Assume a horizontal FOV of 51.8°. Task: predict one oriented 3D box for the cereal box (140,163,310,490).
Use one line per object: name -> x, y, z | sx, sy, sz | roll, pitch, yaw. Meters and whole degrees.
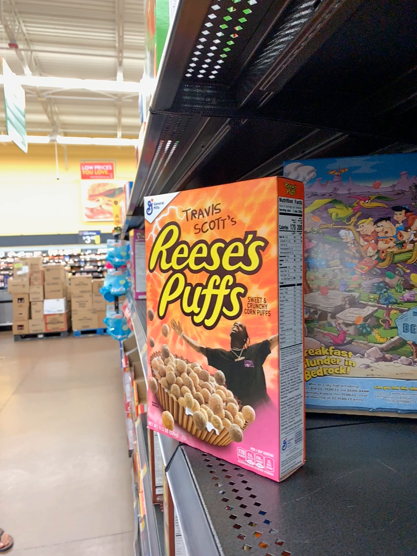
cereal box -> 0.008, 0.042, 0.468 | 0.200, 0.290, 0.050 | 0, 1, 44
